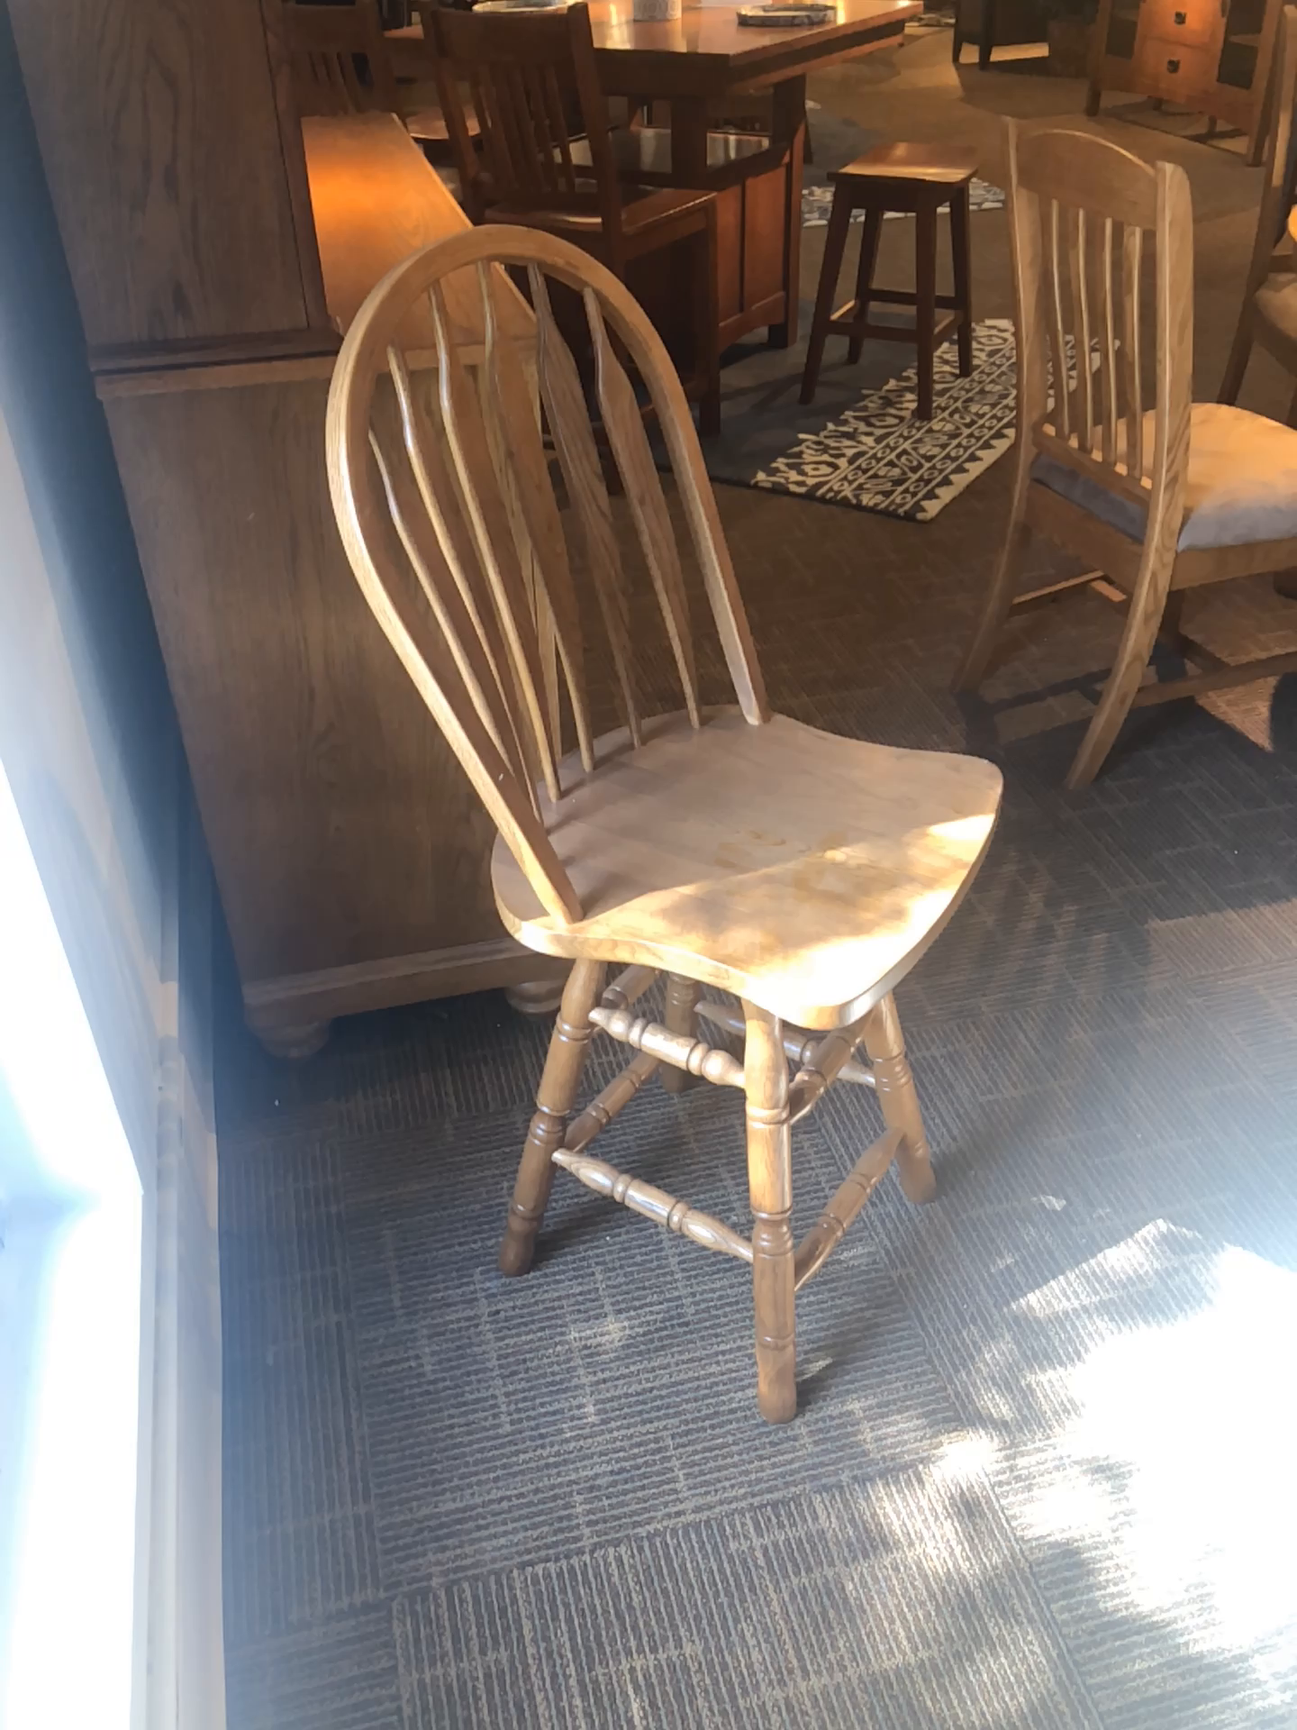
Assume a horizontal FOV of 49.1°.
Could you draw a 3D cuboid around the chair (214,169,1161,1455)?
[{"bbox_3d":[0.059,-0.040,1.365,0.541,1.025,0.482,19,41,25],"label":"chair"}]
